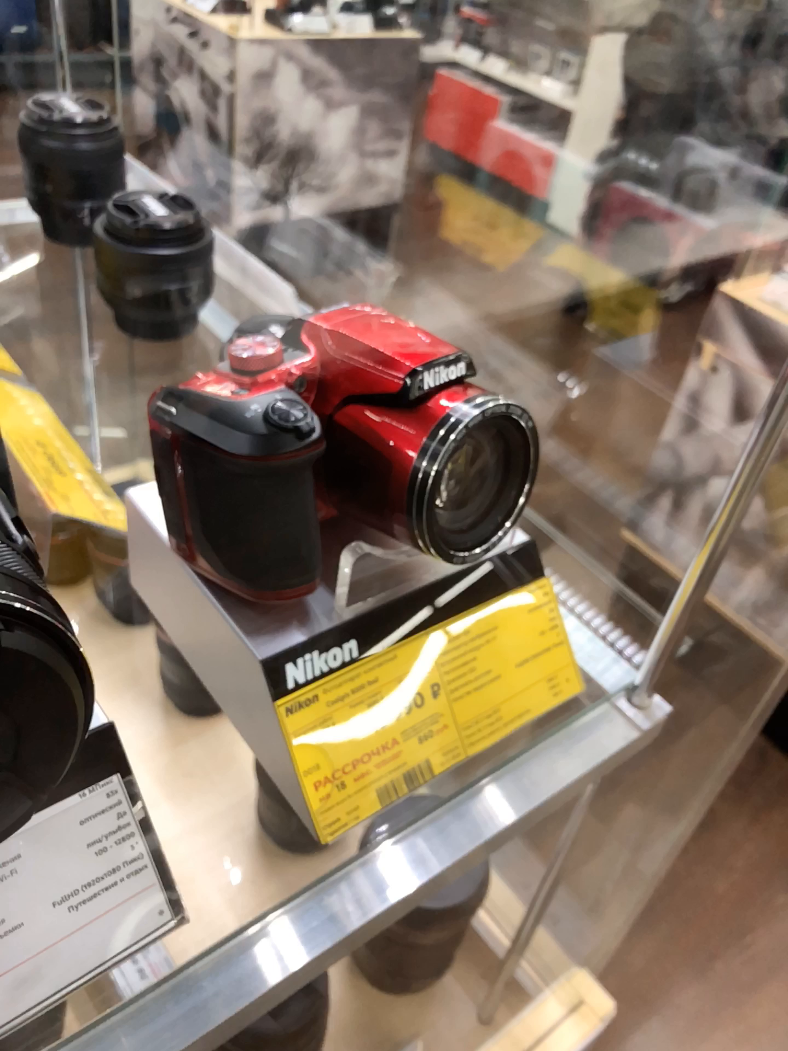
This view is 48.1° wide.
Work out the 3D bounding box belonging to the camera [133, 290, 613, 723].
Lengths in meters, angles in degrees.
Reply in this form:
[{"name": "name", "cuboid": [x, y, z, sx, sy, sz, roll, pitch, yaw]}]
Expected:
[{"name": "camera", "cuboid": [-0.012, -0.017, 0.320, 0.120, 0.076, 0.110, -21, 49, -33]}]
